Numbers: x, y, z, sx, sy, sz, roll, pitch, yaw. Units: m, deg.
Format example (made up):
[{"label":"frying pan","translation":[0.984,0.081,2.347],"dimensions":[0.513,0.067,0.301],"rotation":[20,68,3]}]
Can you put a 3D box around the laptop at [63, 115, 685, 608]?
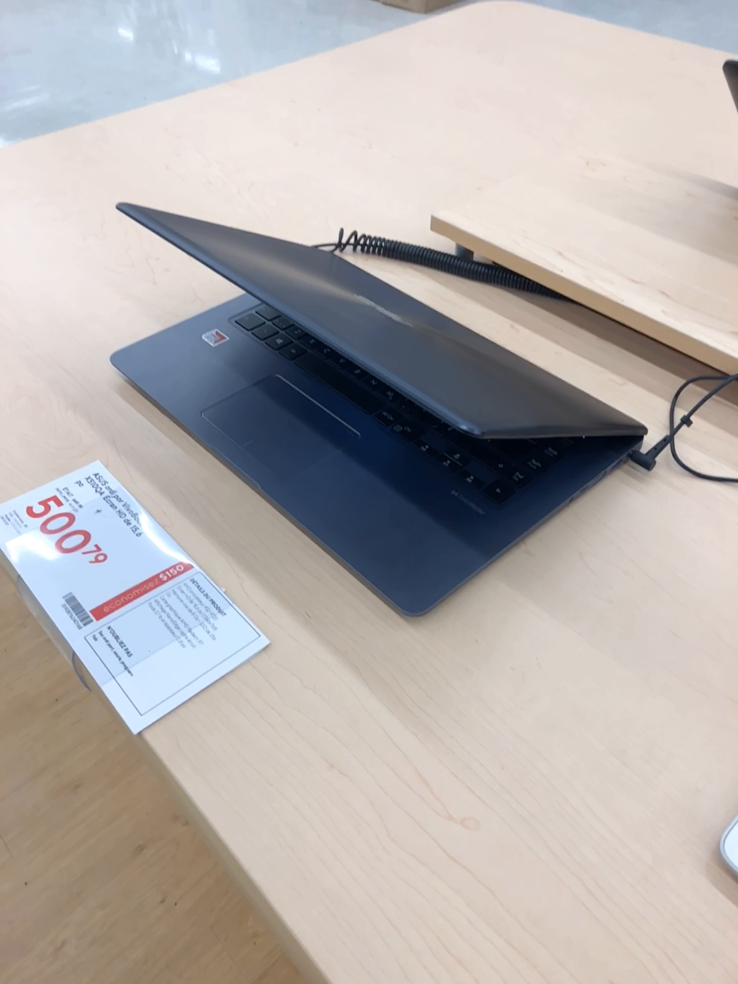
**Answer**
[{"label":"laptop","translation":[-0.008,-0.123,0.582],"dimensions":[0.232,0.136,0.345],"rotation":[-33,54,-28]}]
